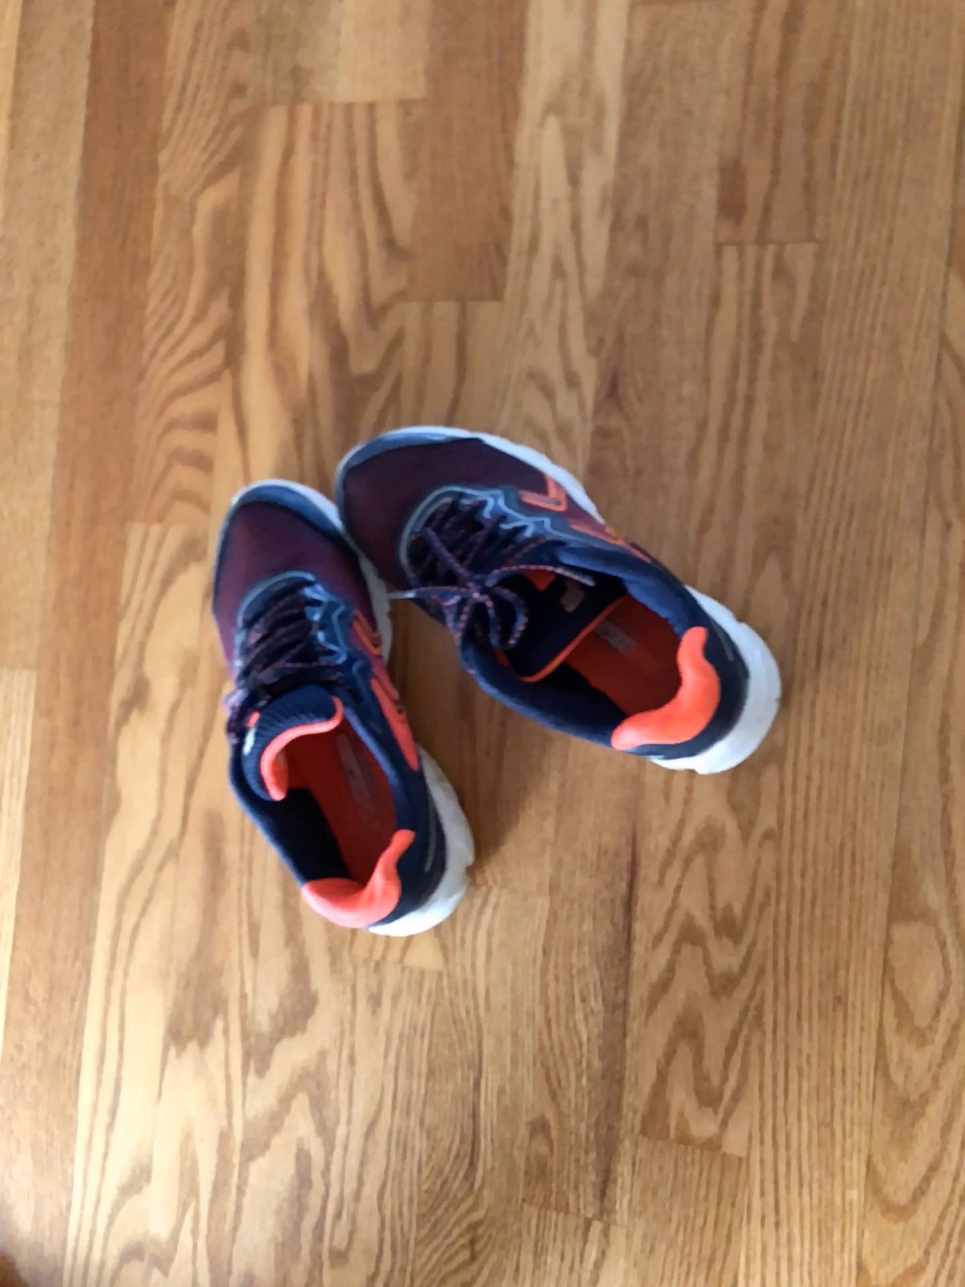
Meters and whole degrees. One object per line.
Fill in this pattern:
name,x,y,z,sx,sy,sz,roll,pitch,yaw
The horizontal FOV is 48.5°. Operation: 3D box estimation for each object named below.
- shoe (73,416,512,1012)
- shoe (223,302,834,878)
shoe,-0.098,0.035,0.575,0.108,0.110,0.270,-25,80,15
shoe,0.024,-0.029,0.540,0.277,0.110,0.116,41,99,15
